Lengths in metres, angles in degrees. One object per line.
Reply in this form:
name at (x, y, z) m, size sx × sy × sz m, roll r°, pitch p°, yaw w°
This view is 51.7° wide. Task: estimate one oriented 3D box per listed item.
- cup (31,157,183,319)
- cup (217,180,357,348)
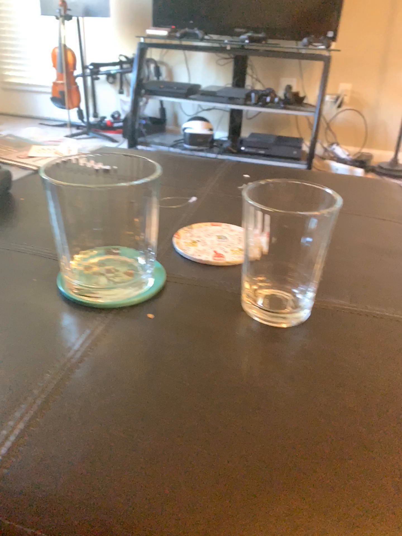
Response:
cup at (-0.072, -0.030, 0.333) m, size 0.080 × 0.089 × 0.080 m, roll 2°, pitch 29°, yaw -1°
cup at (0.060, -0.007, 0.303) m, size 0.060 × 0.089 × 0.070 m, roll 25°, pitch 36°, yaw 35°
